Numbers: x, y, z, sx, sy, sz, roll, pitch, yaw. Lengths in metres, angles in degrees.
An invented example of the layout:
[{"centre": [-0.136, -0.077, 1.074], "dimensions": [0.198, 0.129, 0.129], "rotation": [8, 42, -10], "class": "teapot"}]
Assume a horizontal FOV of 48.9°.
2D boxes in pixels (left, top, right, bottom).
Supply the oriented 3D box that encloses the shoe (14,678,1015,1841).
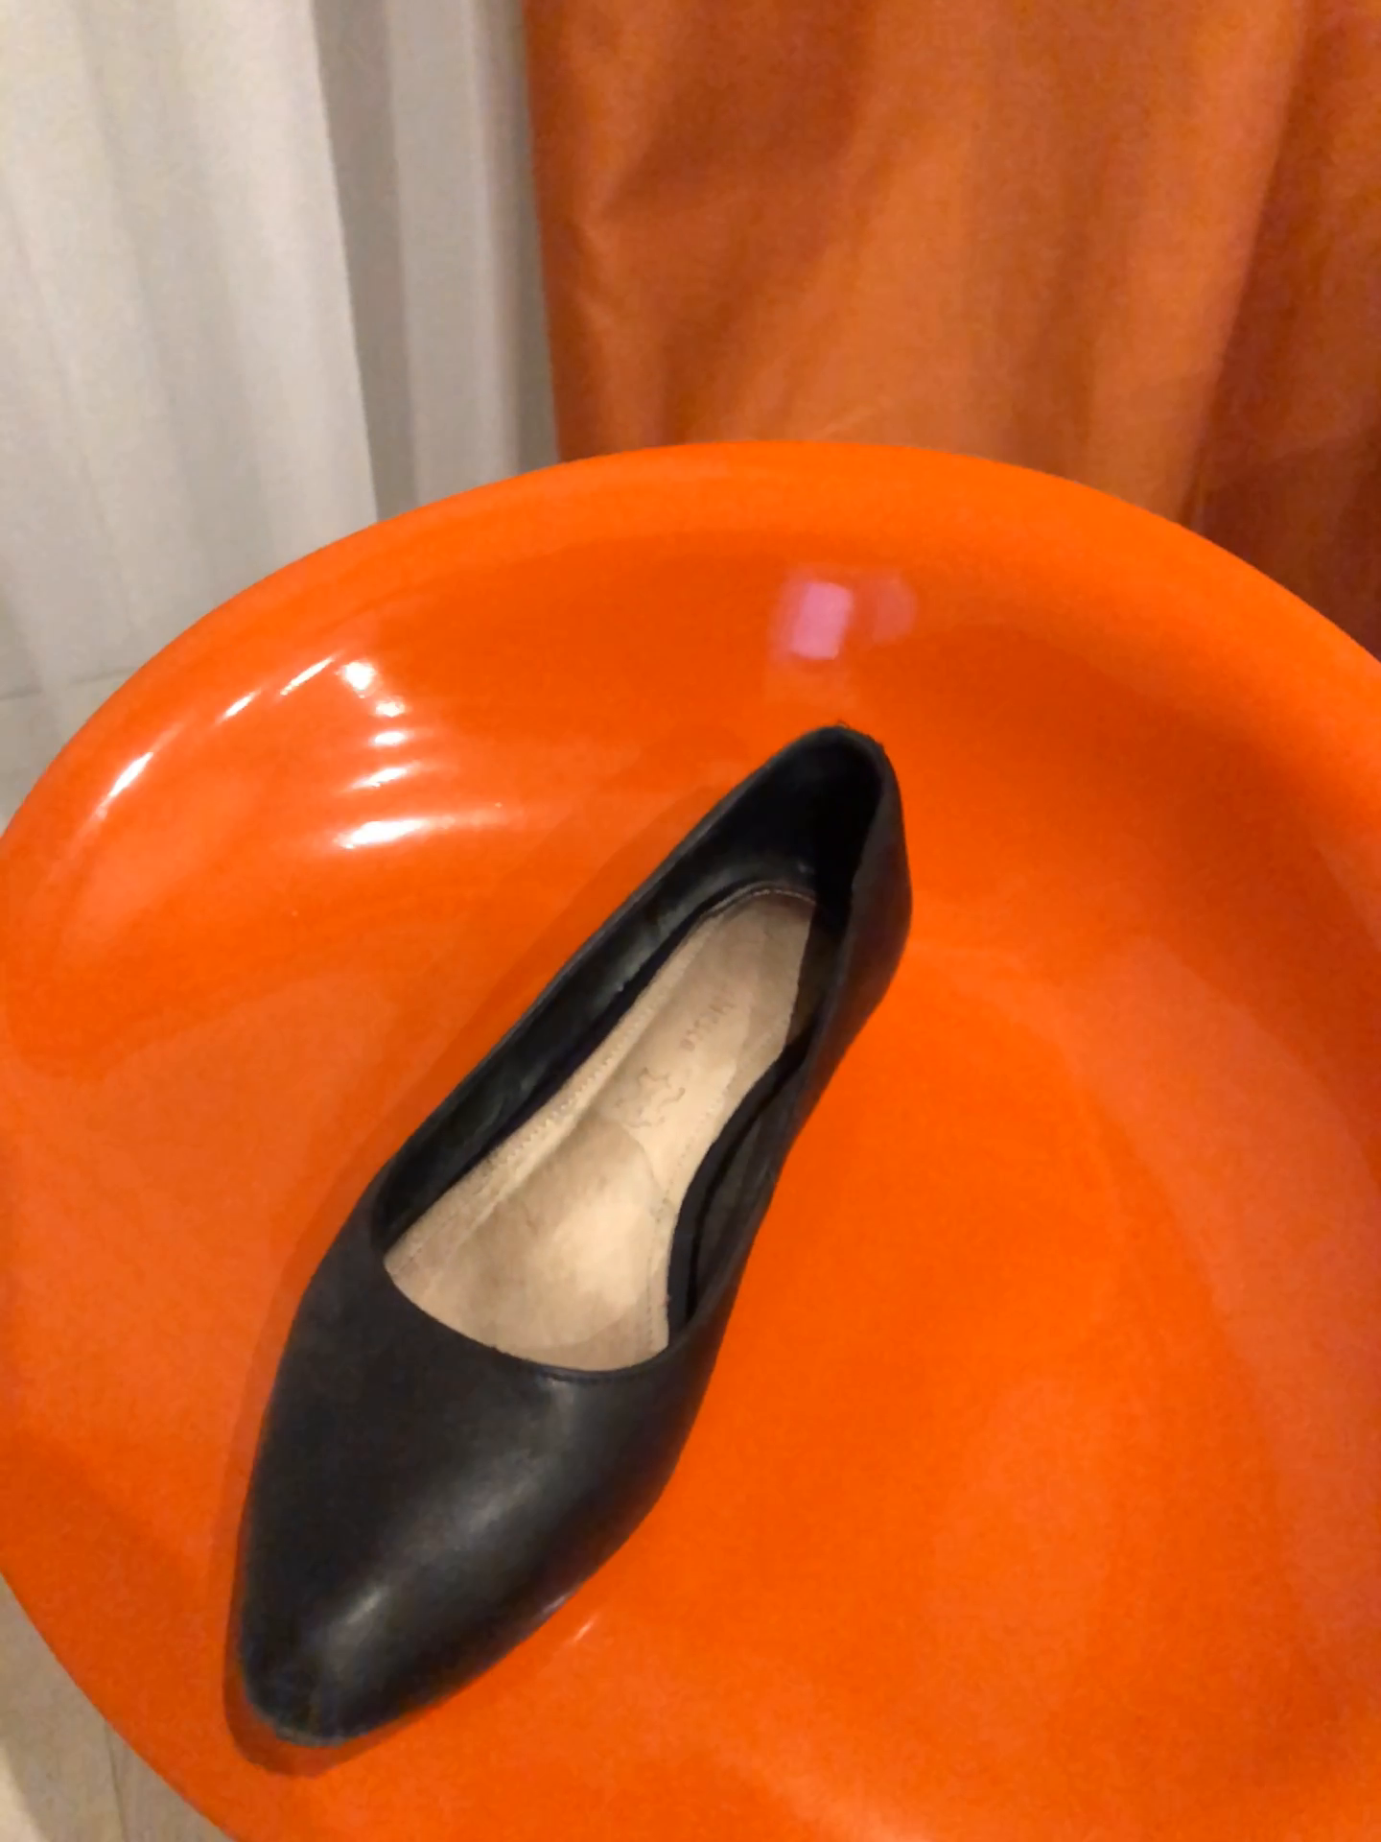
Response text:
[{"centre": [-0.016, 0.059, 0.352], "dimensions": [0.090, 0.079, 0.262], "rotation": [21, 49, 17], "class": "shoe"}]
